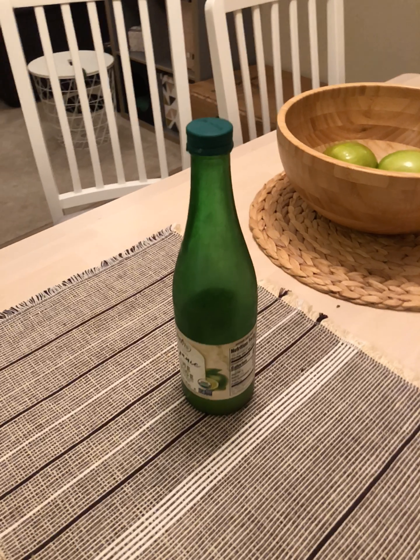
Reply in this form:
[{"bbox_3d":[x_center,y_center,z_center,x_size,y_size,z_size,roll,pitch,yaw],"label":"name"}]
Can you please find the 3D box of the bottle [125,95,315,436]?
[{"bbox_3d":[0.006,0.002,0.345,0.081,0.236,0.080,-1,40,1],"label":"bottle"}]
